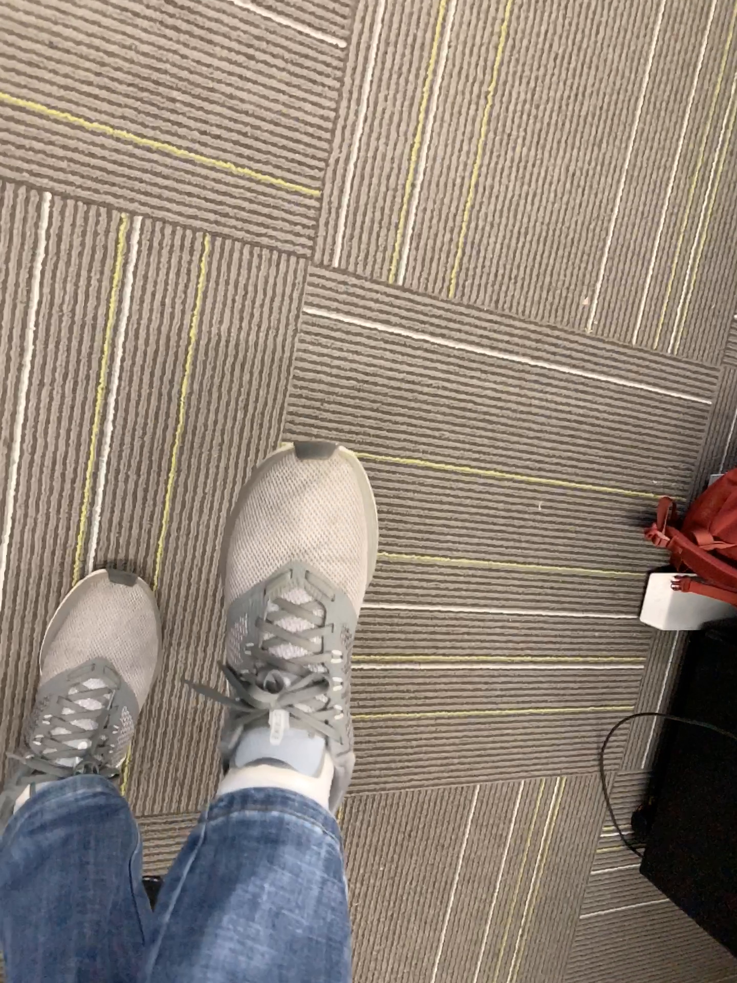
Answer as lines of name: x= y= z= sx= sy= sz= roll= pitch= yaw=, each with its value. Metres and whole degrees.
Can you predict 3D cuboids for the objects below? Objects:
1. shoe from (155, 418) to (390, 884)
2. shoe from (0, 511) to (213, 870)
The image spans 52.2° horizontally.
shoe: x=-0.056 y=0.103 z=0.531 sx=0.126 sy=0.115 sz=0.297 roll=0 pitch=101 yaw=7
shoe: x=-0.295 y=0.202 z=0.802 sx=0.124 sy=0.180 sz=0.309 roll=18 pitch=95 yaw=-27
